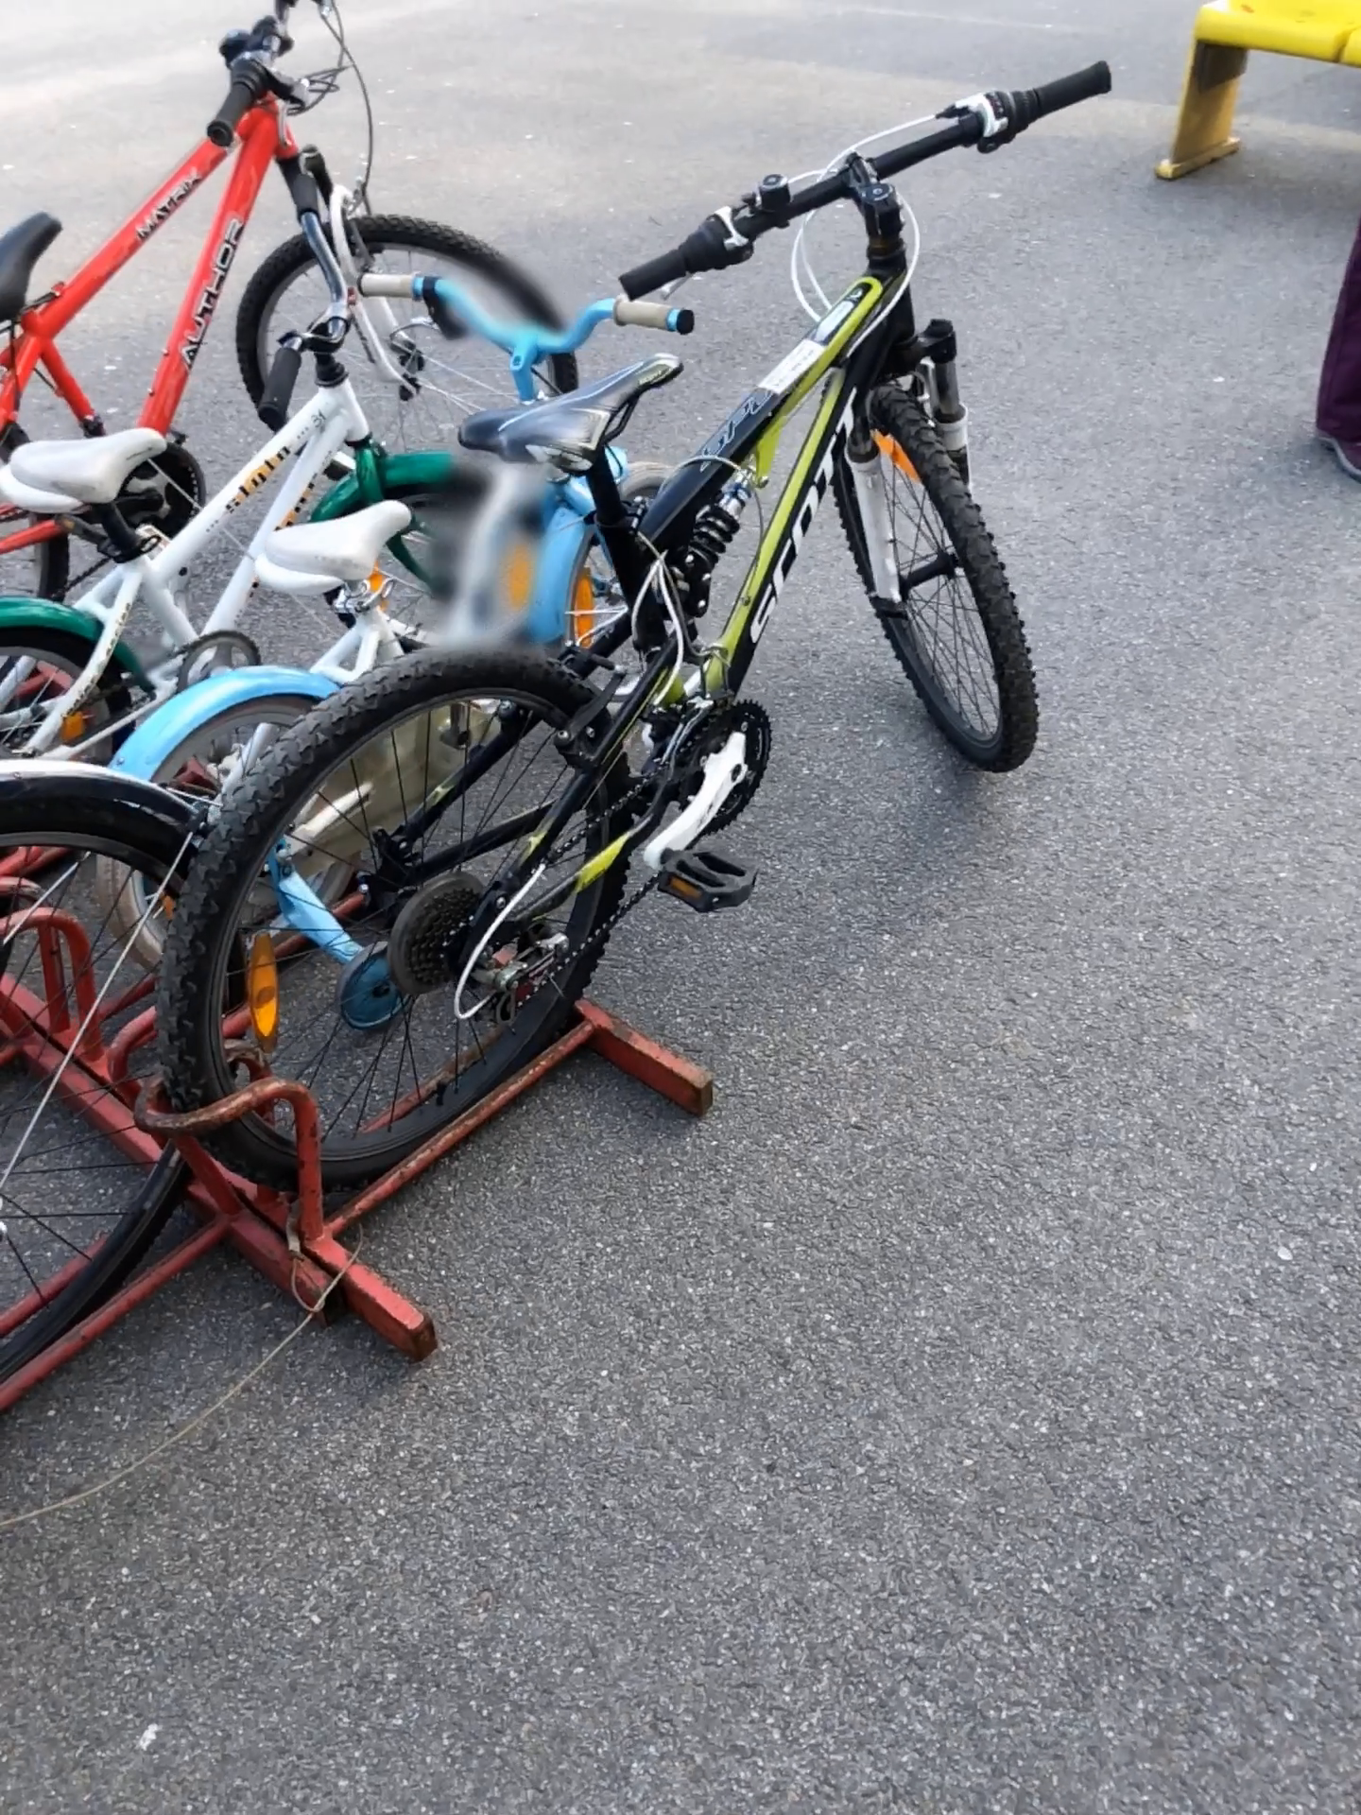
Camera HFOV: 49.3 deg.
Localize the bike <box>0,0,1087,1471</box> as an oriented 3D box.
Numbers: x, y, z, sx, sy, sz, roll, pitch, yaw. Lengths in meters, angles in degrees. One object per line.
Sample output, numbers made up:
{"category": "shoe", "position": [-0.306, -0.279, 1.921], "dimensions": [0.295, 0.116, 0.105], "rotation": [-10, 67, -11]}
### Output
{"category": "bike", "position": [-0.076, -0.341, 1.641], "dimensions": [0.529, 0.901, 1.379], "rotation": [19, 45, 25]}
